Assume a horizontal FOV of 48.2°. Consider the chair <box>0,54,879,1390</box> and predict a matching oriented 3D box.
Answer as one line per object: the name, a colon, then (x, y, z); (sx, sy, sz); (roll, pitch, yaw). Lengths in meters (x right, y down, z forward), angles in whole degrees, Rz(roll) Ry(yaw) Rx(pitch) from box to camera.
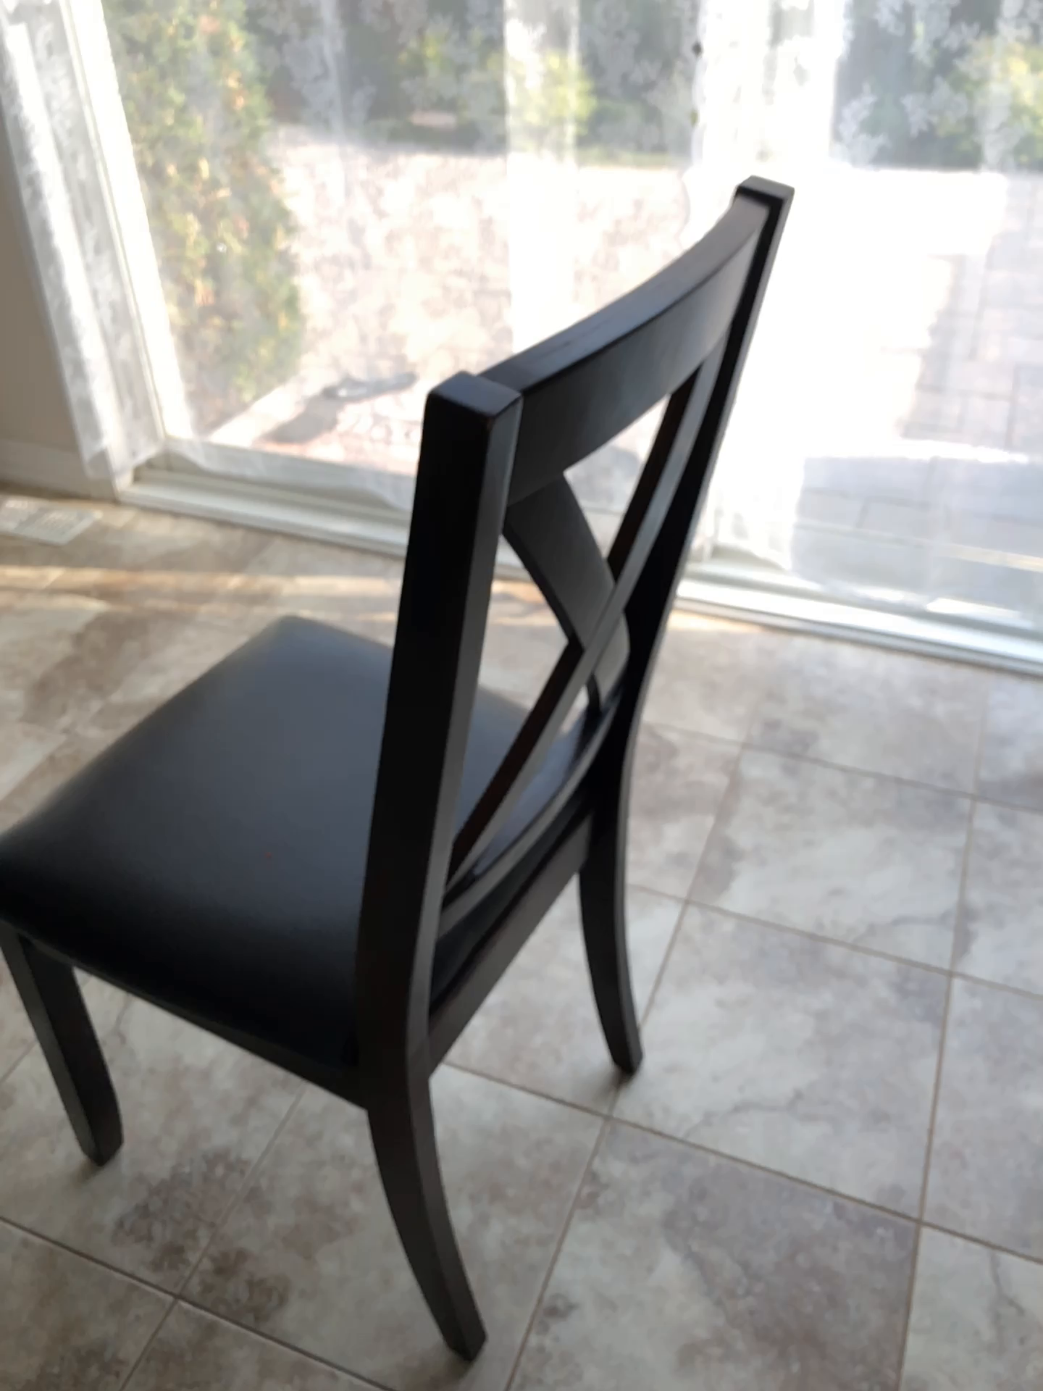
chair: (-0.150, 0.056, 0.966); (0.601, 0.936, 0.481); (19, 42, 25)
